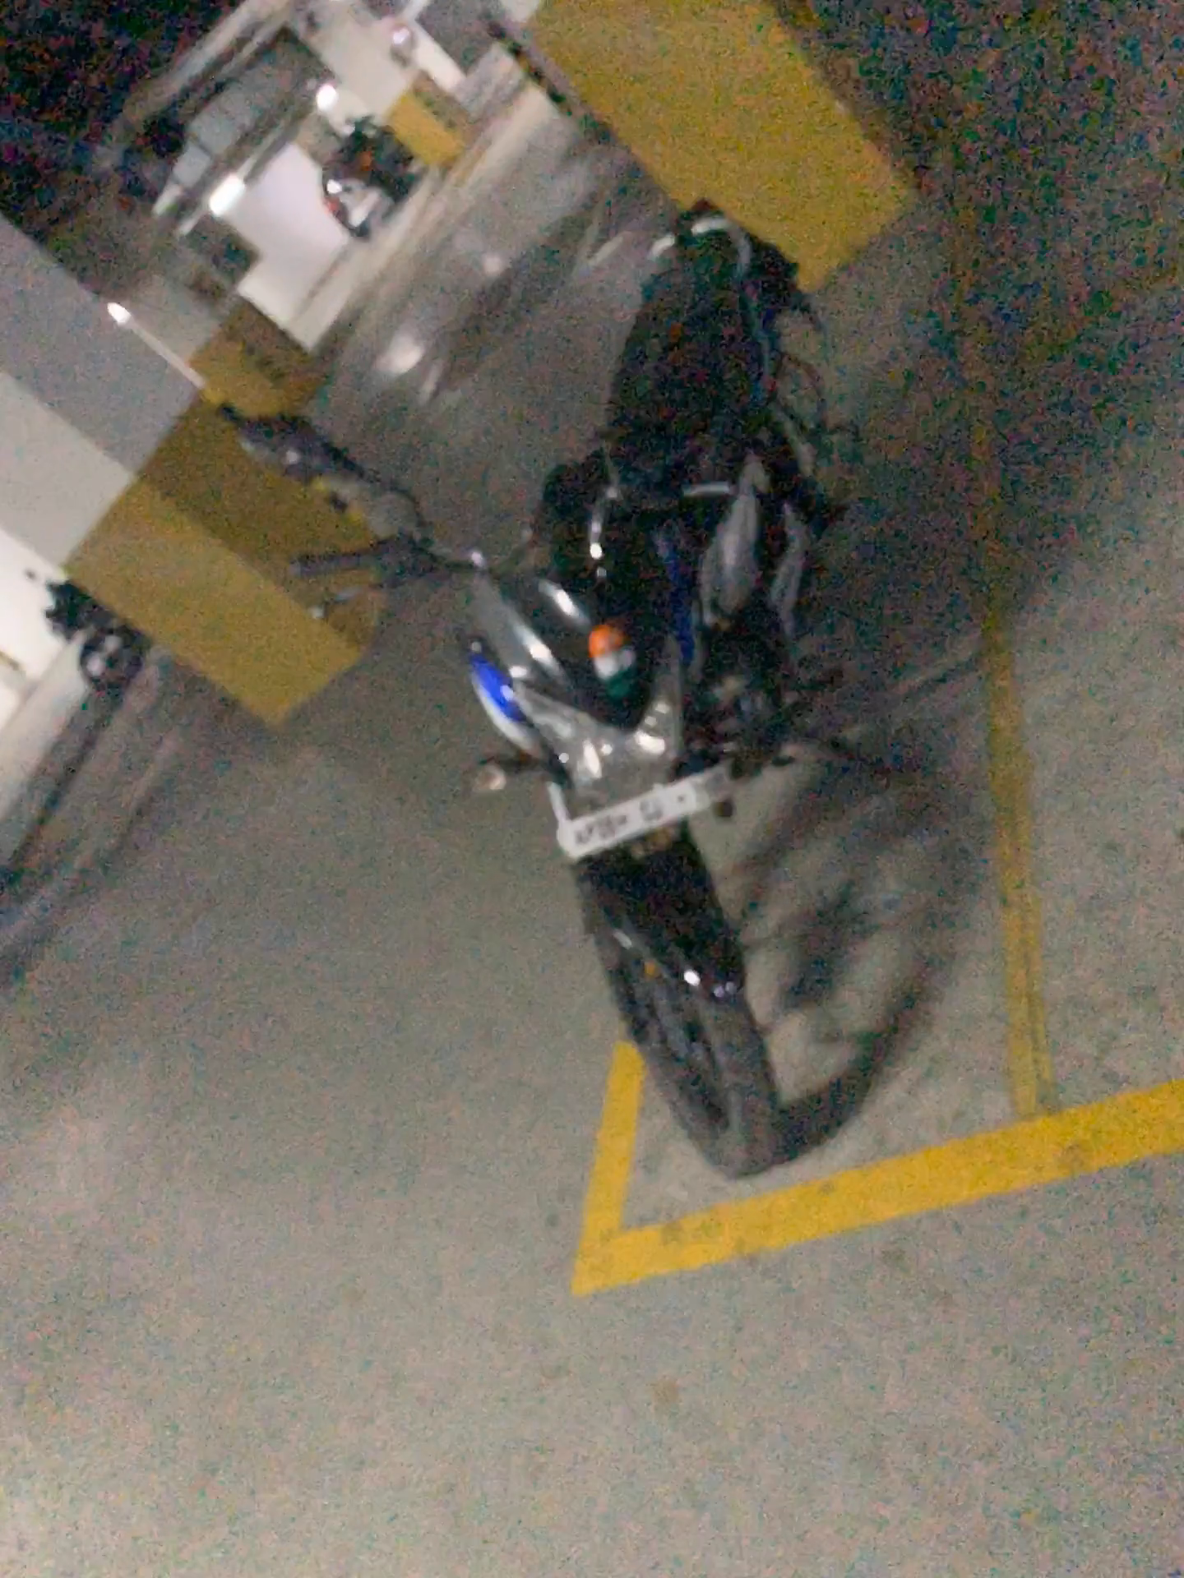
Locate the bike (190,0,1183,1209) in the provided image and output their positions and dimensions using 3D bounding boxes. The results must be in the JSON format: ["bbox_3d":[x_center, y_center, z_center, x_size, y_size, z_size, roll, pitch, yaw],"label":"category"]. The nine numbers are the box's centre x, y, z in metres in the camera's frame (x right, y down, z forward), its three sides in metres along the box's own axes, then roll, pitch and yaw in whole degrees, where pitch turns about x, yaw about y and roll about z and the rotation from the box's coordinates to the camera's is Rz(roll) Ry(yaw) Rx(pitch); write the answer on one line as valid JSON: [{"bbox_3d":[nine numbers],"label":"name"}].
[{"bbox_3d":[0.383,-0.588,2.254,0.854,1.204,2.215,-32,31,34],"label":"bike"}]
